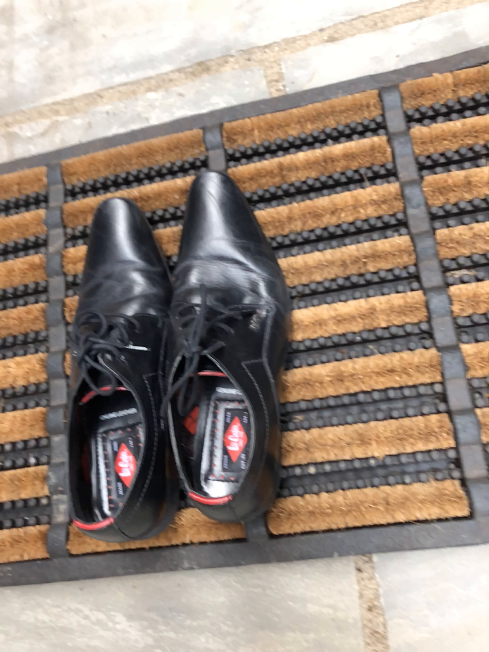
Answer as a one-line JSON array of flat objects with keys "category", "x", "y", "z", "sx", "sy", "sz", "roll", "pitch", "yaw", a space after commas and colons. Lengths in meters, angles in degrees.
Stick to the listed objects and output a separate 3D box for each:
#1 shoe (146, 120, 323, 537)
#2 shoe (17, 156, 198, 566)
[{"category": "shoe", "x": -0.009, "y": 0.001, "z": 0.439, "sx": 0.100, "sy": 0.100, "sz": 0.301, "roll": -8, "pitch": 73, "yaw": 9}, {"category": "shoe", "x": -0.110, "y": 0.026, "z": 0.451, "sx": 0.100, "sy": 0.100, "sz": 0.301, "roll": -8, "pitch": 73, "yaw": 9}]
